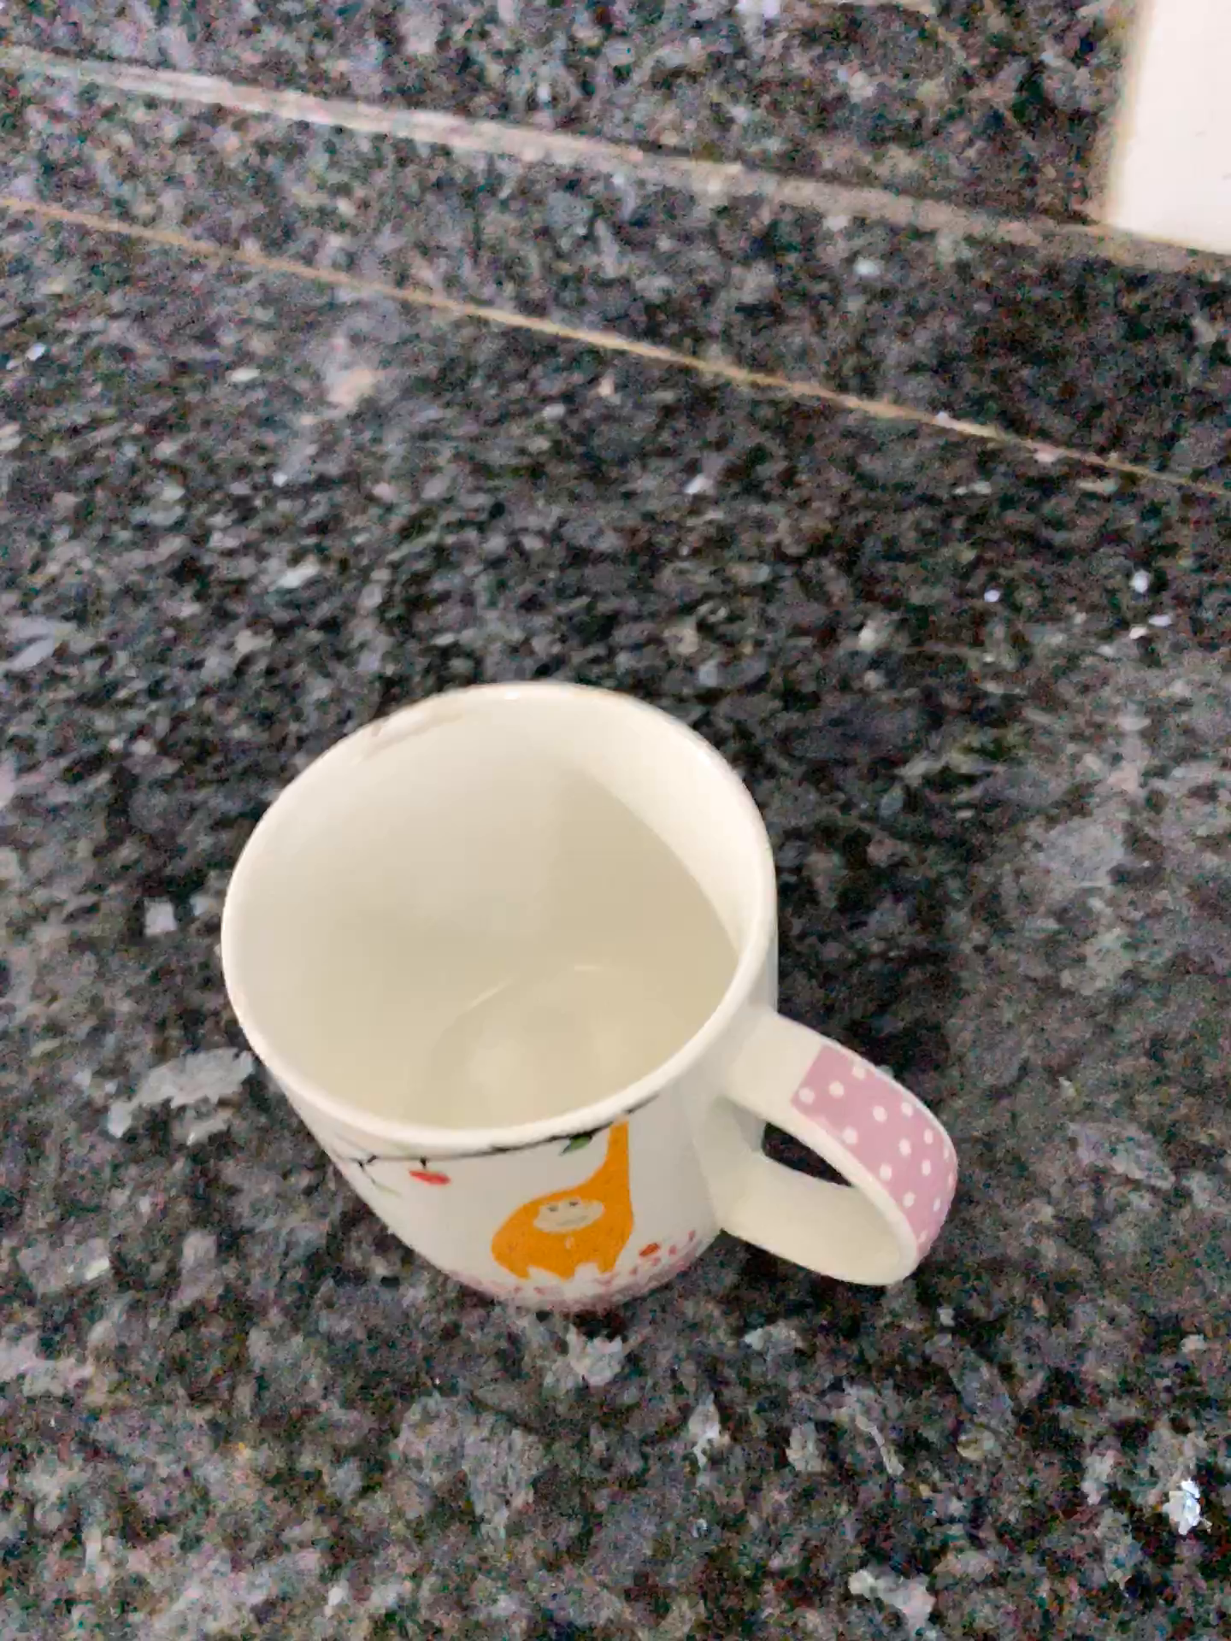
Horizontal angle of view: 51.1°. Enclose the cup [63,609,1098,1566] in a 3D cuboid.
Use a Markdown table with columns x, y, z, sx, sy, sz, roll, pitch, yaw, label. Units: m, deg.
| x | y | z | sx | sy | sz | roll | pitch | yaw | label |
| --- | --- | --- | --- | --- | --- | --- | --- | --- | --- |
| -0.002 | 0.041 | 0.213 | 0.120 | 0.089 | 0.080 | 23 | 58 | 24 | cup |
